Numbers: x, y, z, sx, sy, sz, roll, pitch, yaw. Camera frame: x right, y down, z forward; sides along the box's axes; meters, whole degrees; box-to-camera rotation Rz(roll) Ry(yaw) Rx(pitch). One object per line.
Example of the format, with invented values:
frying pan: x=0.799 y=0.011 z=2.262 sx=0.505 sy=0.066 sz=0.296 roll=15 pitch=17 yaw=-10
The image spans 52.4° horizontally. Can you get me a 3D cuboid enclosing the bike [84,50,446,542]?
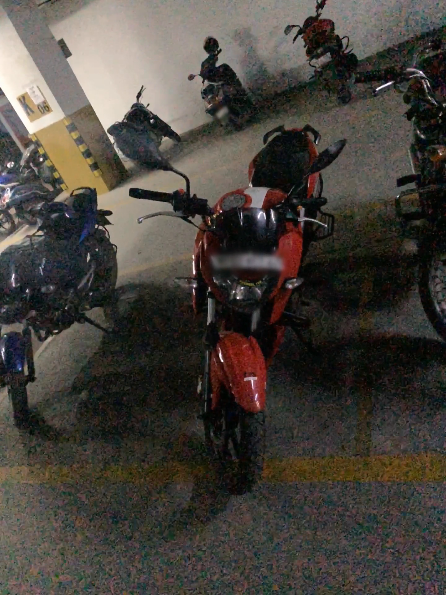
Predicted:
bike: x=0.322 y=-0.149 z=1.927 sx=0.803 sy=1.006 sz=1.698 roll=-13 pitch=35 yaw=24

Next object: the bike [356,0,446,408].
bike: x=1.013 y=-0.528 z=1.801 sx=0.675 sy=0.933 sz=1.571 roll=-13 pitch=33 yaw=24
